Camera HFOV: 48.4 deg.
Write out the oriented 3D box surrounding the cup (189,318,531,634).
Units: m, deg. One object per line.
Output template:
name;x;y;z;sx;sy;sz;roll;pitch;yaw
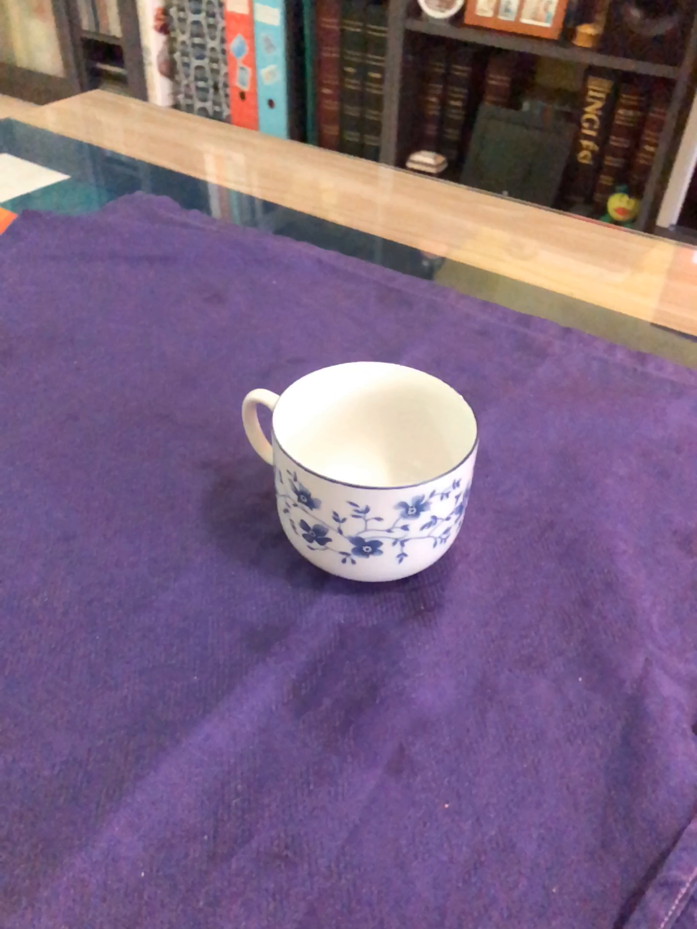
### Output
cup;0.004;0.000;0.296;0.100;0.060;0.070;23;45;23
